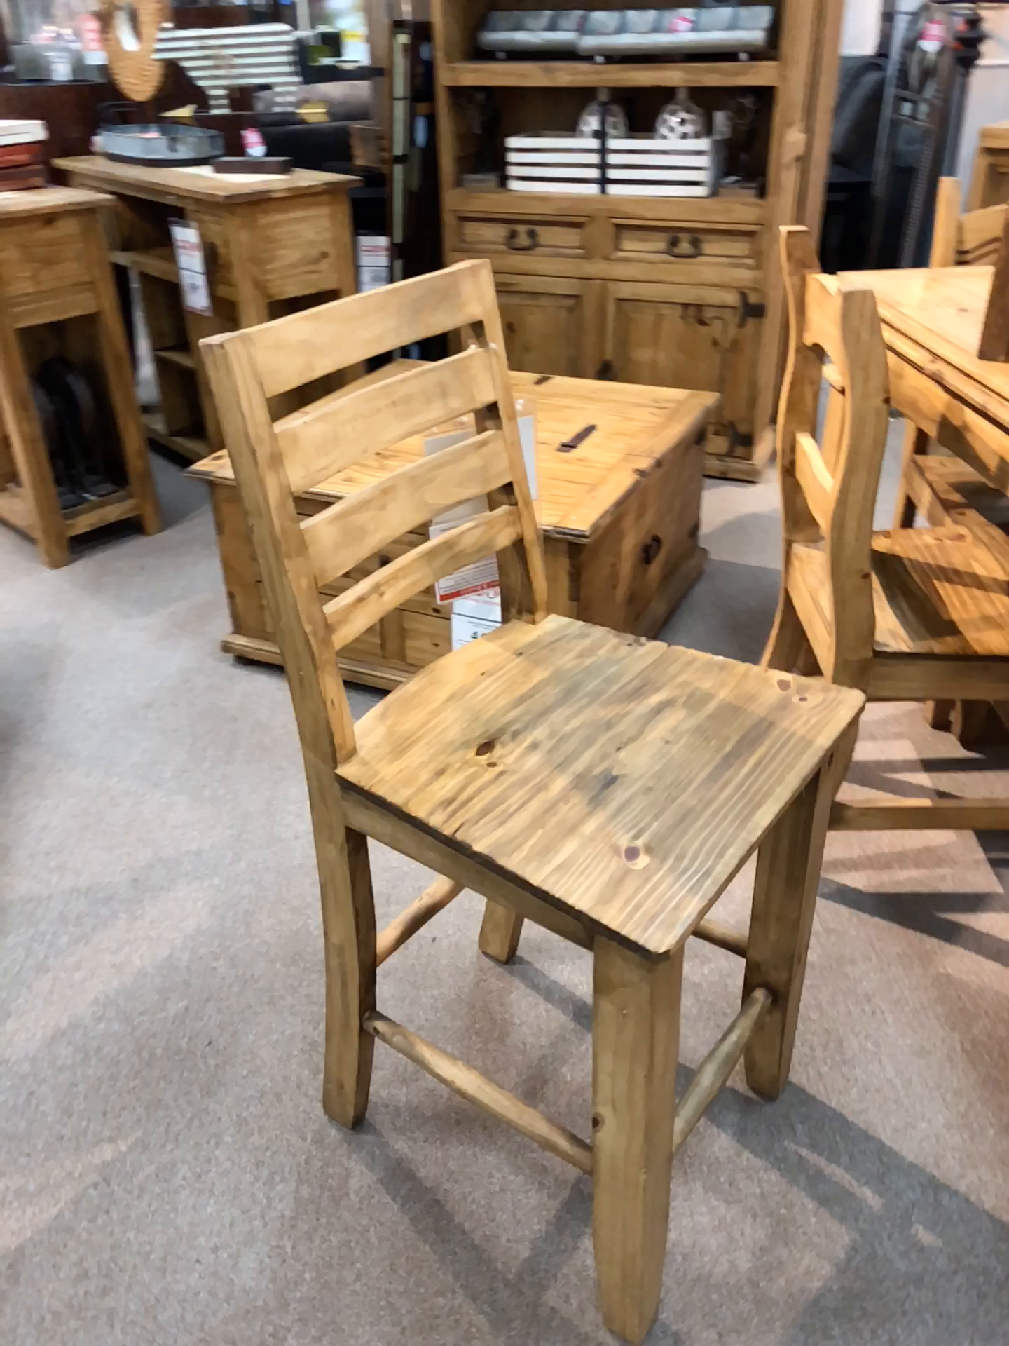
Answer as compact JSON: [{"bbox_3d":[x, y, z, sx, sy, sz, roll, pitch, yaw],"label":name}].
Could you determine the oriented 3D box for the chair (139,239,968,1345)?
[{"bbox_3d":[0.069,0.133,1.184,0.521,1.013,0.472,19,37,31],"label":"chair"}]
